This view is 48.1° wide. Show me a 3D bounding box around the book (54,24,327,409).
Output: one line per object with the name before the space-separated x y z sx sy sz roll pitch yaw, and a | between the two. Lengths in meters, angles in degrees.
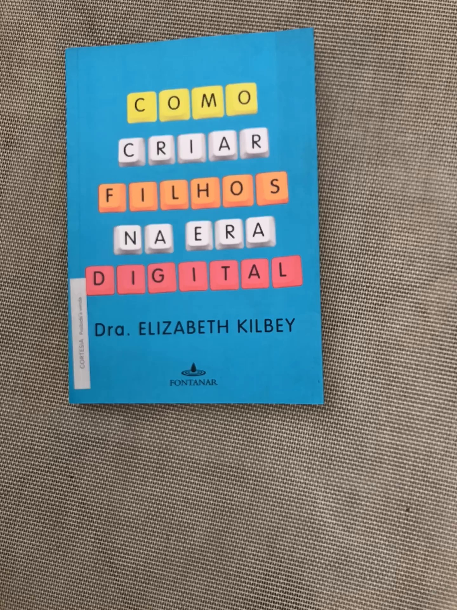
book | -0.026 -0.053 0.321 0.163 0.020 0.228 -2 87 6
